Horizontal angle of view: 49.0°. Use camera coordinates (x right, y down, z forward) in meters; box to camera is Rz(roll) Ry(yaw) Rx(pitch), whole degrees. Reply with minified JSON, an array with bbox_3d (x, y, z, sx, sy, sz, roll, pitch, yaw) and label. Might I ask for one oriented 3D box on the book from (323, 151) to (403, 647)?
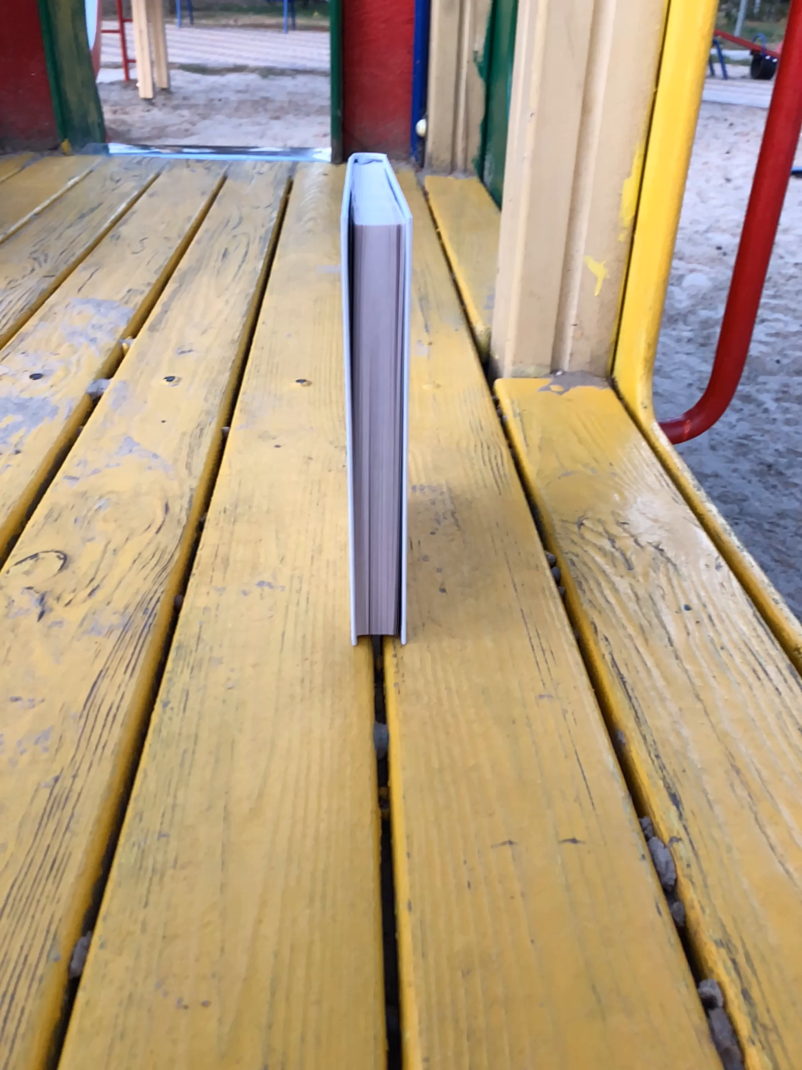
[{"bbox_3d":[-0.016,-0.074,0.454,0.030,0.209,0.155,-1,31,-1],"label":"book"}]
